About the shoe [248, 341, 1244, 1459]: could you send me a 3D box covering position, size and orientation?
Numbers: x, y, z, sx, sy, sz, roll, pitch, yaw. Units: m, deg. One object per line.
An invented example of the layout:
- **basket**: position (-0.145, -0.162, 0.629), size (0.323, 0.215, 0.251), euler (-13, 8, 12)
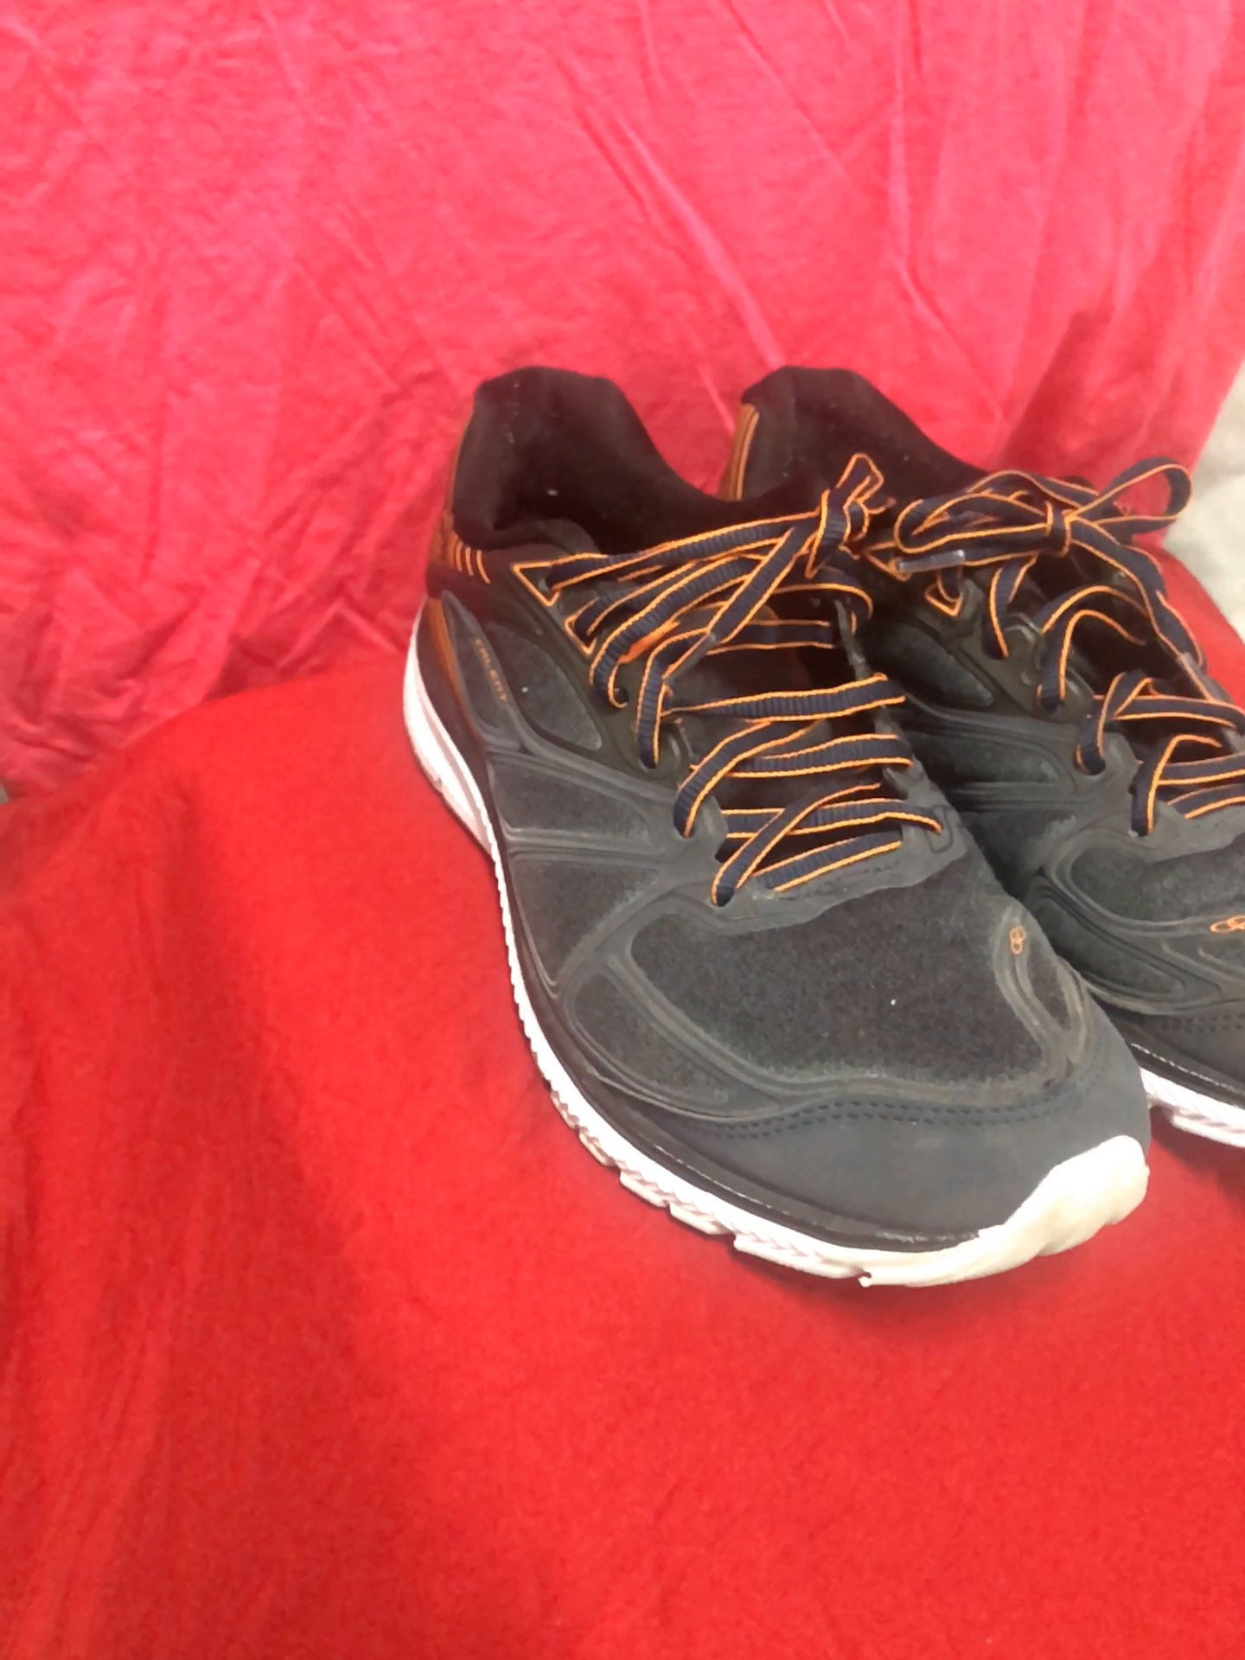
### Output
- **shoe**: position (0.000, -0.021, 0.327), size (0.110, 0.089, 0.282), euler (-14, 40, -19)

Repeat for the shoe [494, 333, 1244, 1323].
- **shoe**: position (0.079, -0.032, 0.365), size (0.110, 0.099, 0.282), euler (-19, 42, -24)
